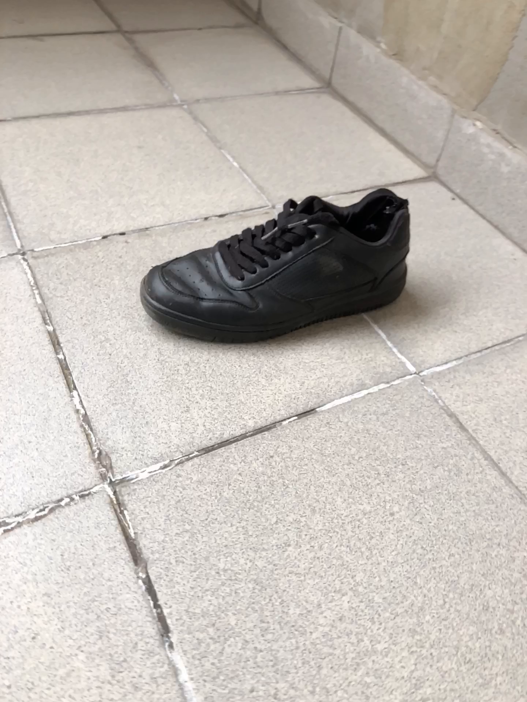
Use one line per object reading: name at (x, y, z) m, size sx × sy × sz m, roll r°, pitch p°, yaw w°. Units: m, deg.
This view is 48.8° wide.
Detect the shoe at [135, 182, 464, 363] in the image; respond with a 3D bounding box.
shoe at (0.030, -0.084, 0.577) m, size 0.290 × 0.099 × 0.111 m, roll -9°, pitch 51°, yaw -17°
